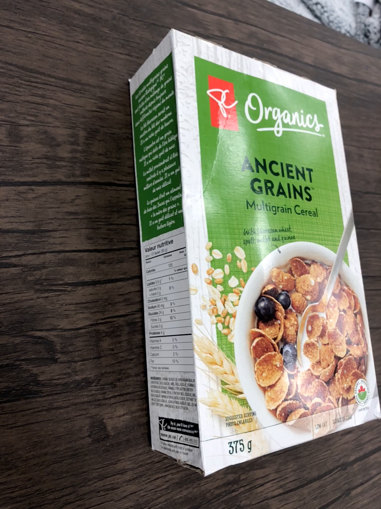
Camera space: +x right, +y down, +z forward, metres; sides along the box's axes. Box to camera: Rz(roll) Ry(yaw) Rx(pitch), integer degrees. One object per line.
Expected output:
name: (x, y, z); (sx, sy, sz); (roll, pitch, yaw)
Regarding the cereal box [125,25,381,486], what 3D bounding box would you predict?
cereal box: (0.053, -0.002, 0.305); (0.171, 0.070, 0.250); (1, 80, -34)
